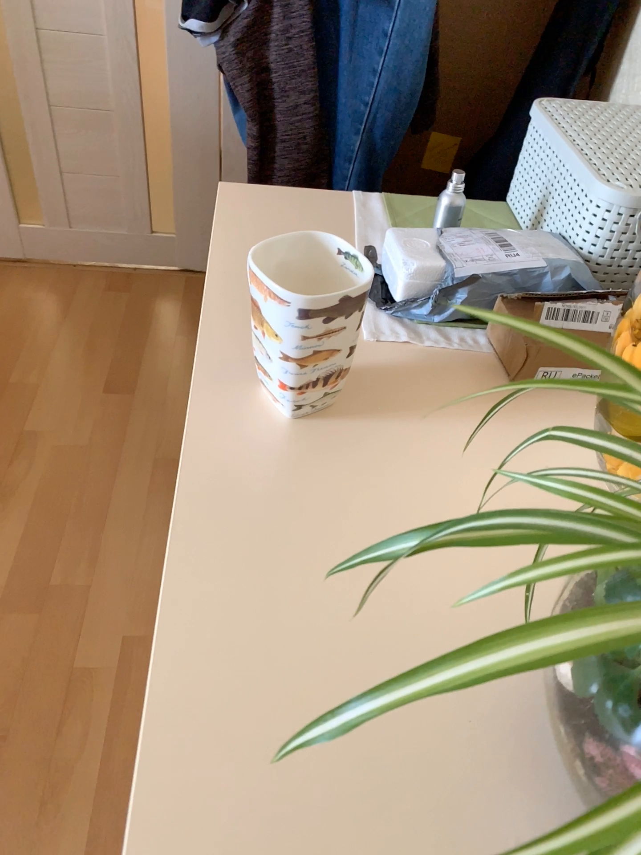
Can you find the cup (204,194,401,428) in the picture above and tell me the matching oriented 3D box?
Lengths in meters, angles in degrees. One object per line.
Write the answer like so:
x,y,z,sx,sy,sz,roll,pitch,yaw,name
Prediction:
-0.022,-0.102,0.553,0.092,0.121,0.139,-23,52,-28,cup
